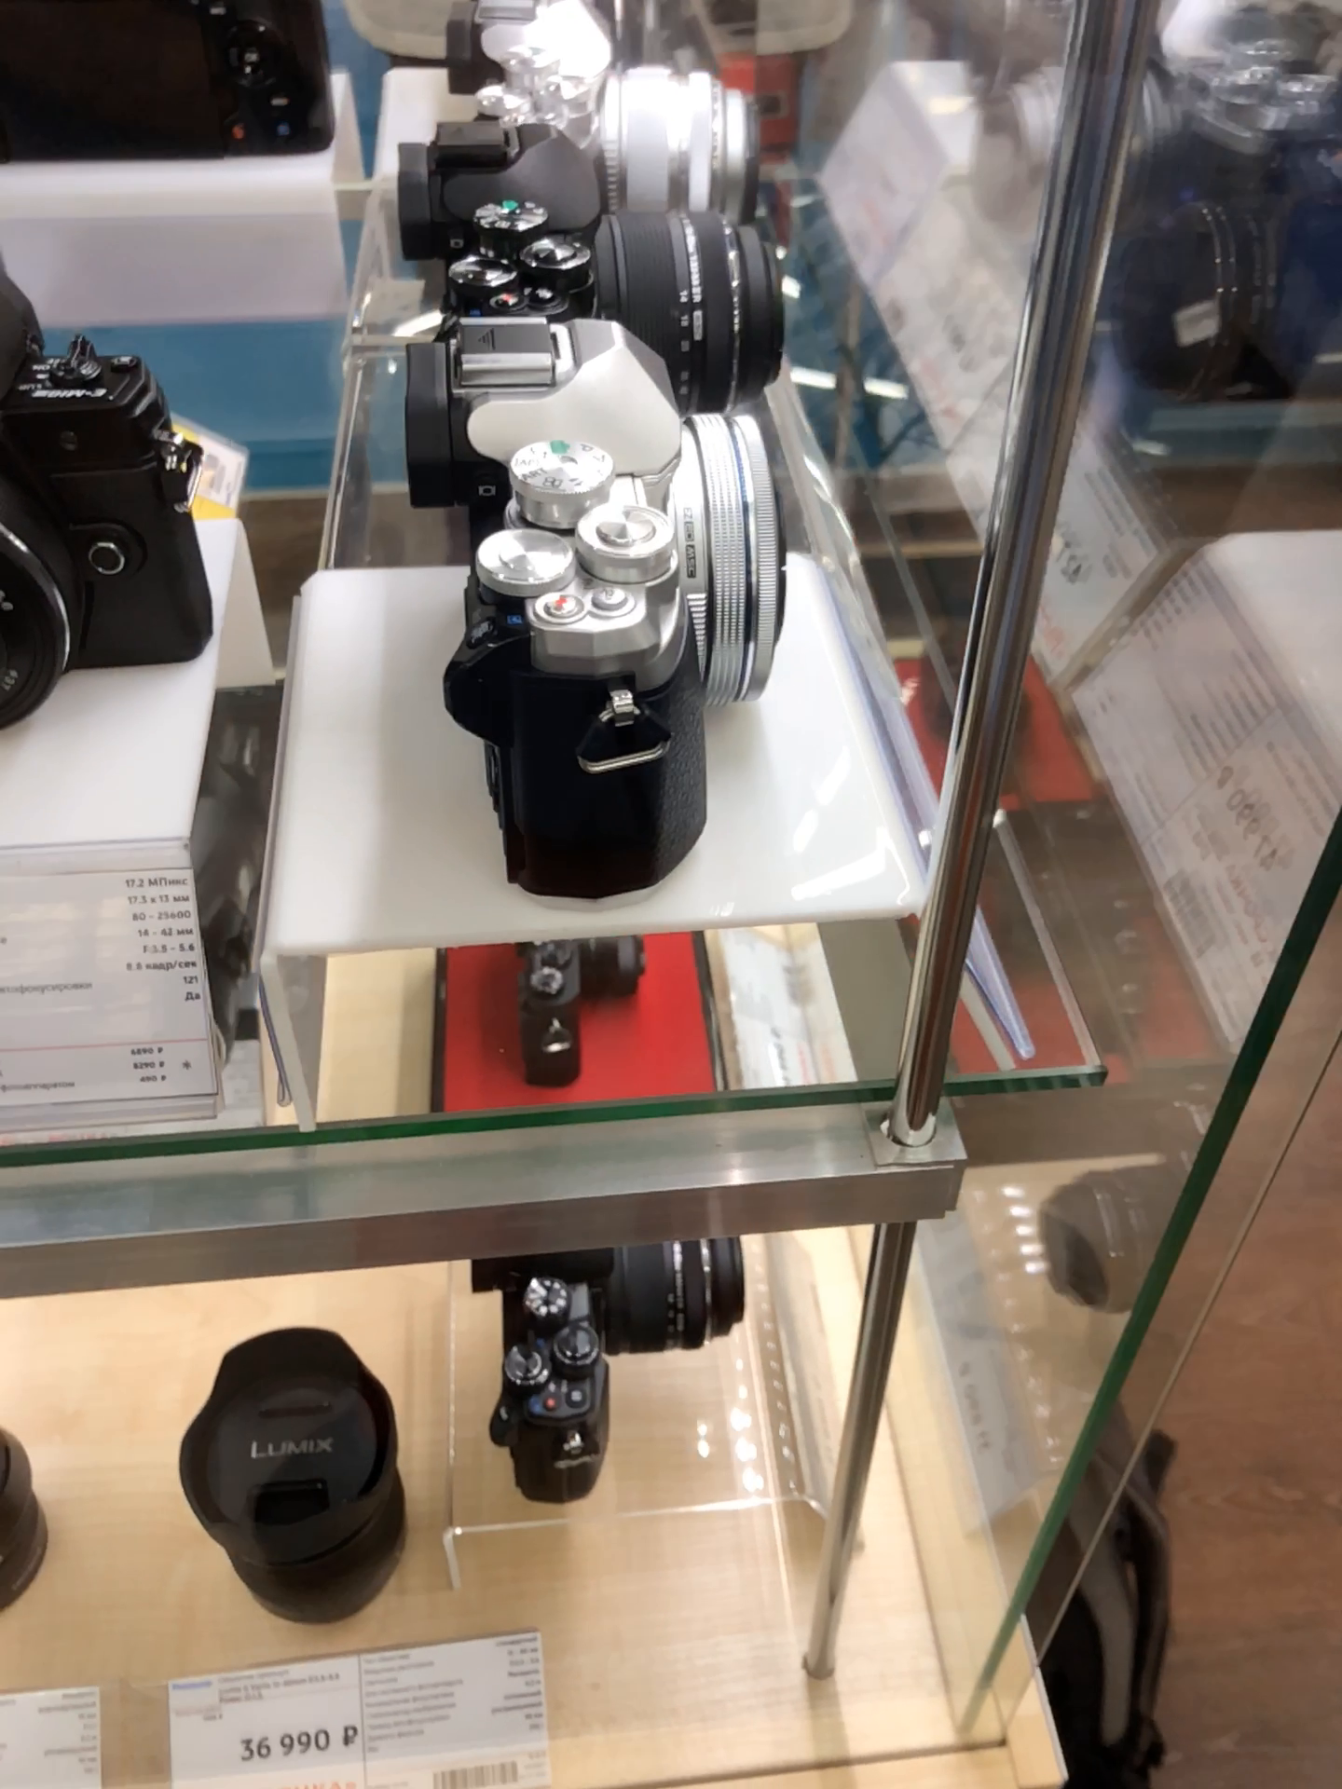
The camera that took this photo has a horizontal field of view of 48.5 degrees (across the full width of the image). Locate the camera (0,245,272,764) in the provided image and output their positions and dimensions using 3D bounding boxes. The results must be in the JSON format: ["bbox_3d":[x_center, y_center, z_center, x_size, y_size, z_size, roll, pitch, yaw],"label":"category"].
[{"bbox_3d":[-0.146,-0.081,0.302,0.108,0.068,0.079,-4,43,-5],"label":"camera"}]

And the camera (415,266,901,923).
[{"bbox_3d":[-0.009,-0.064,0.291,0.073,0.067,0.123,-5,44,-6],"label":"camera"}]
